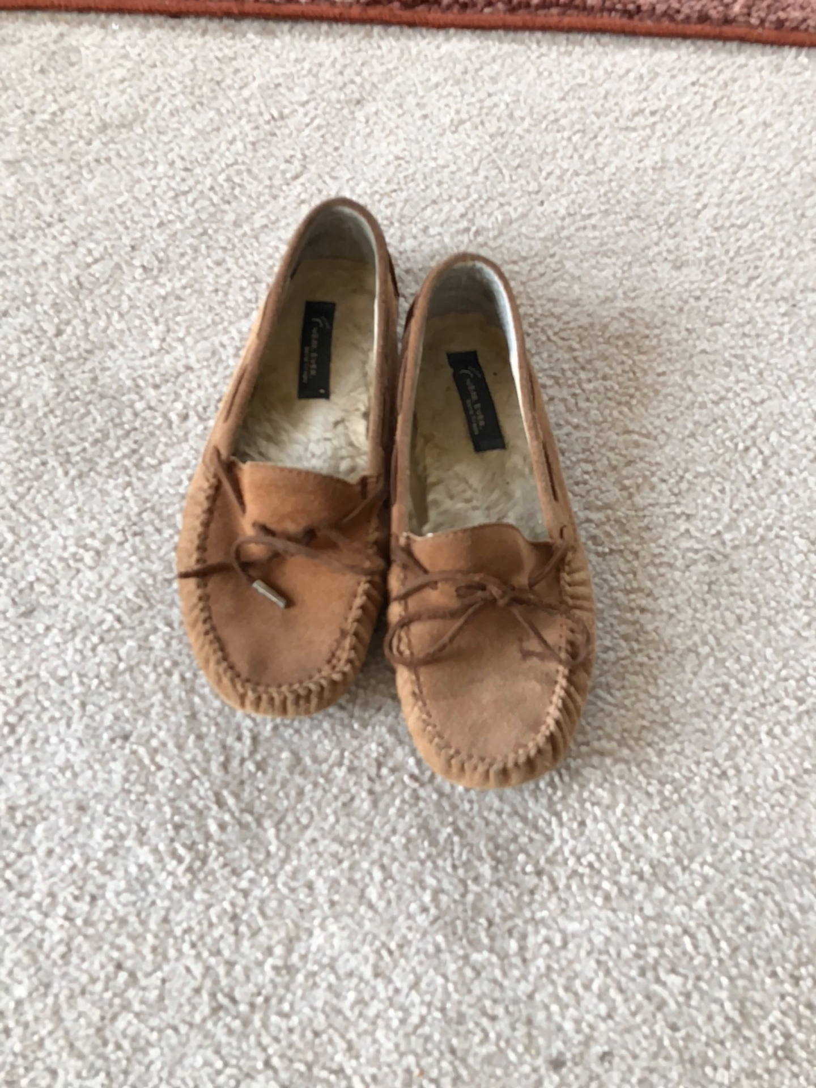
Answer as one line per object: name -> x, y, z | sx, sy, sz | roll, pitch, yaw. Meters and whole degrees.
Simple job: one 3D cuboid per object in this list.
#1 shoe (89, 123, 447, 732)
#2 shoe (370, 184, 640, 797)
shoe -> -0.052, -0.060, 0.414 | 0.105, 0.068, 0.270 | 8, 68, -1
shoe -> 0.036, -0.030, 0.407 | 0.098, 0.068, 0.274 | 2, 68, -3
